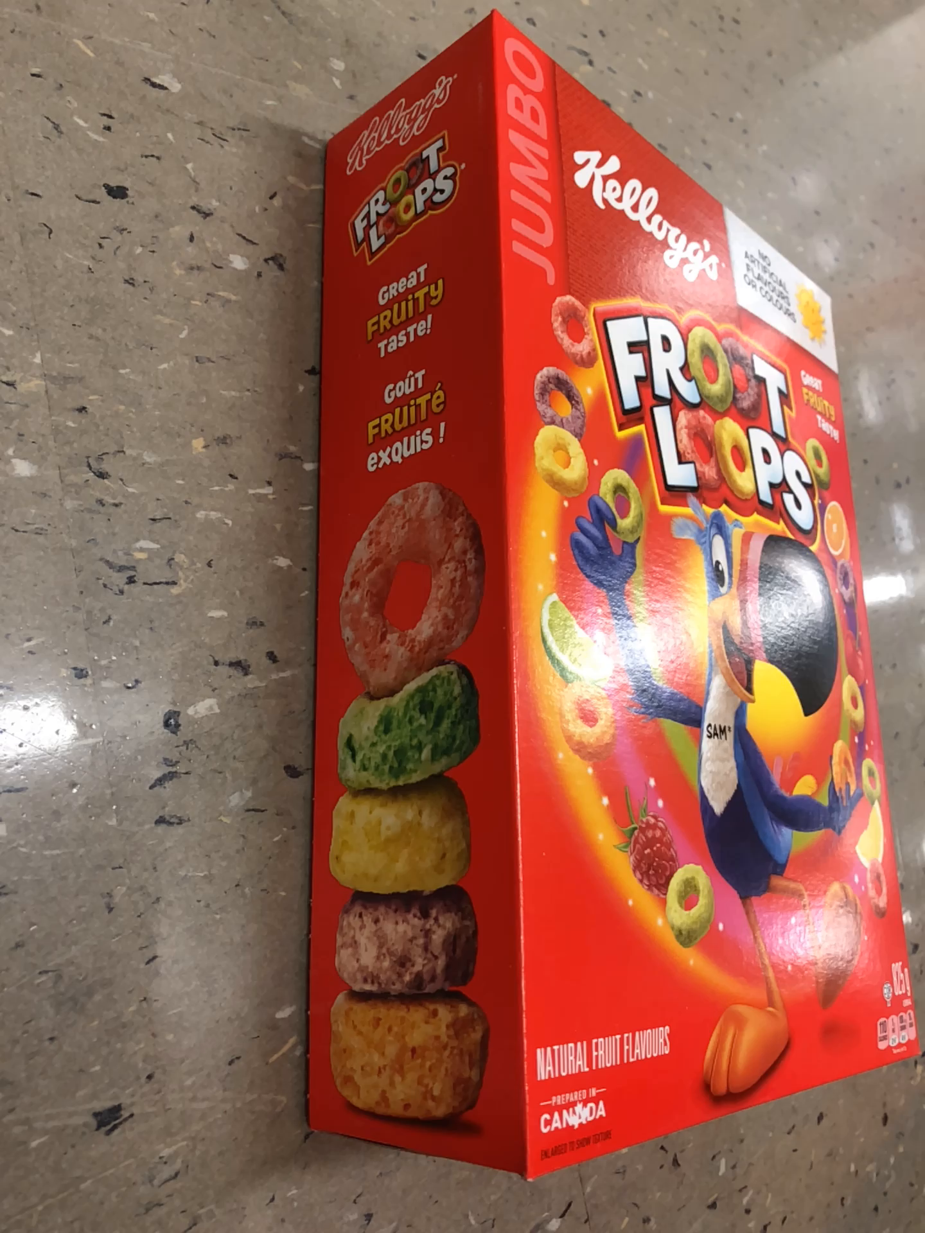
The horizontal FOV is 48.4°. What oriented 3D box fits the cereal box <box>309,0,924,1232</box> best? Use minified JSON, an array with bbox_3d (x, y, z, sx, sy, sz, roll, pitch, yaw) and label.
[{"bbox_3d":[0.082,-0.002,0.377,0.272,0.080,0.360,15,67,-43],"label":"cereal box"}]
